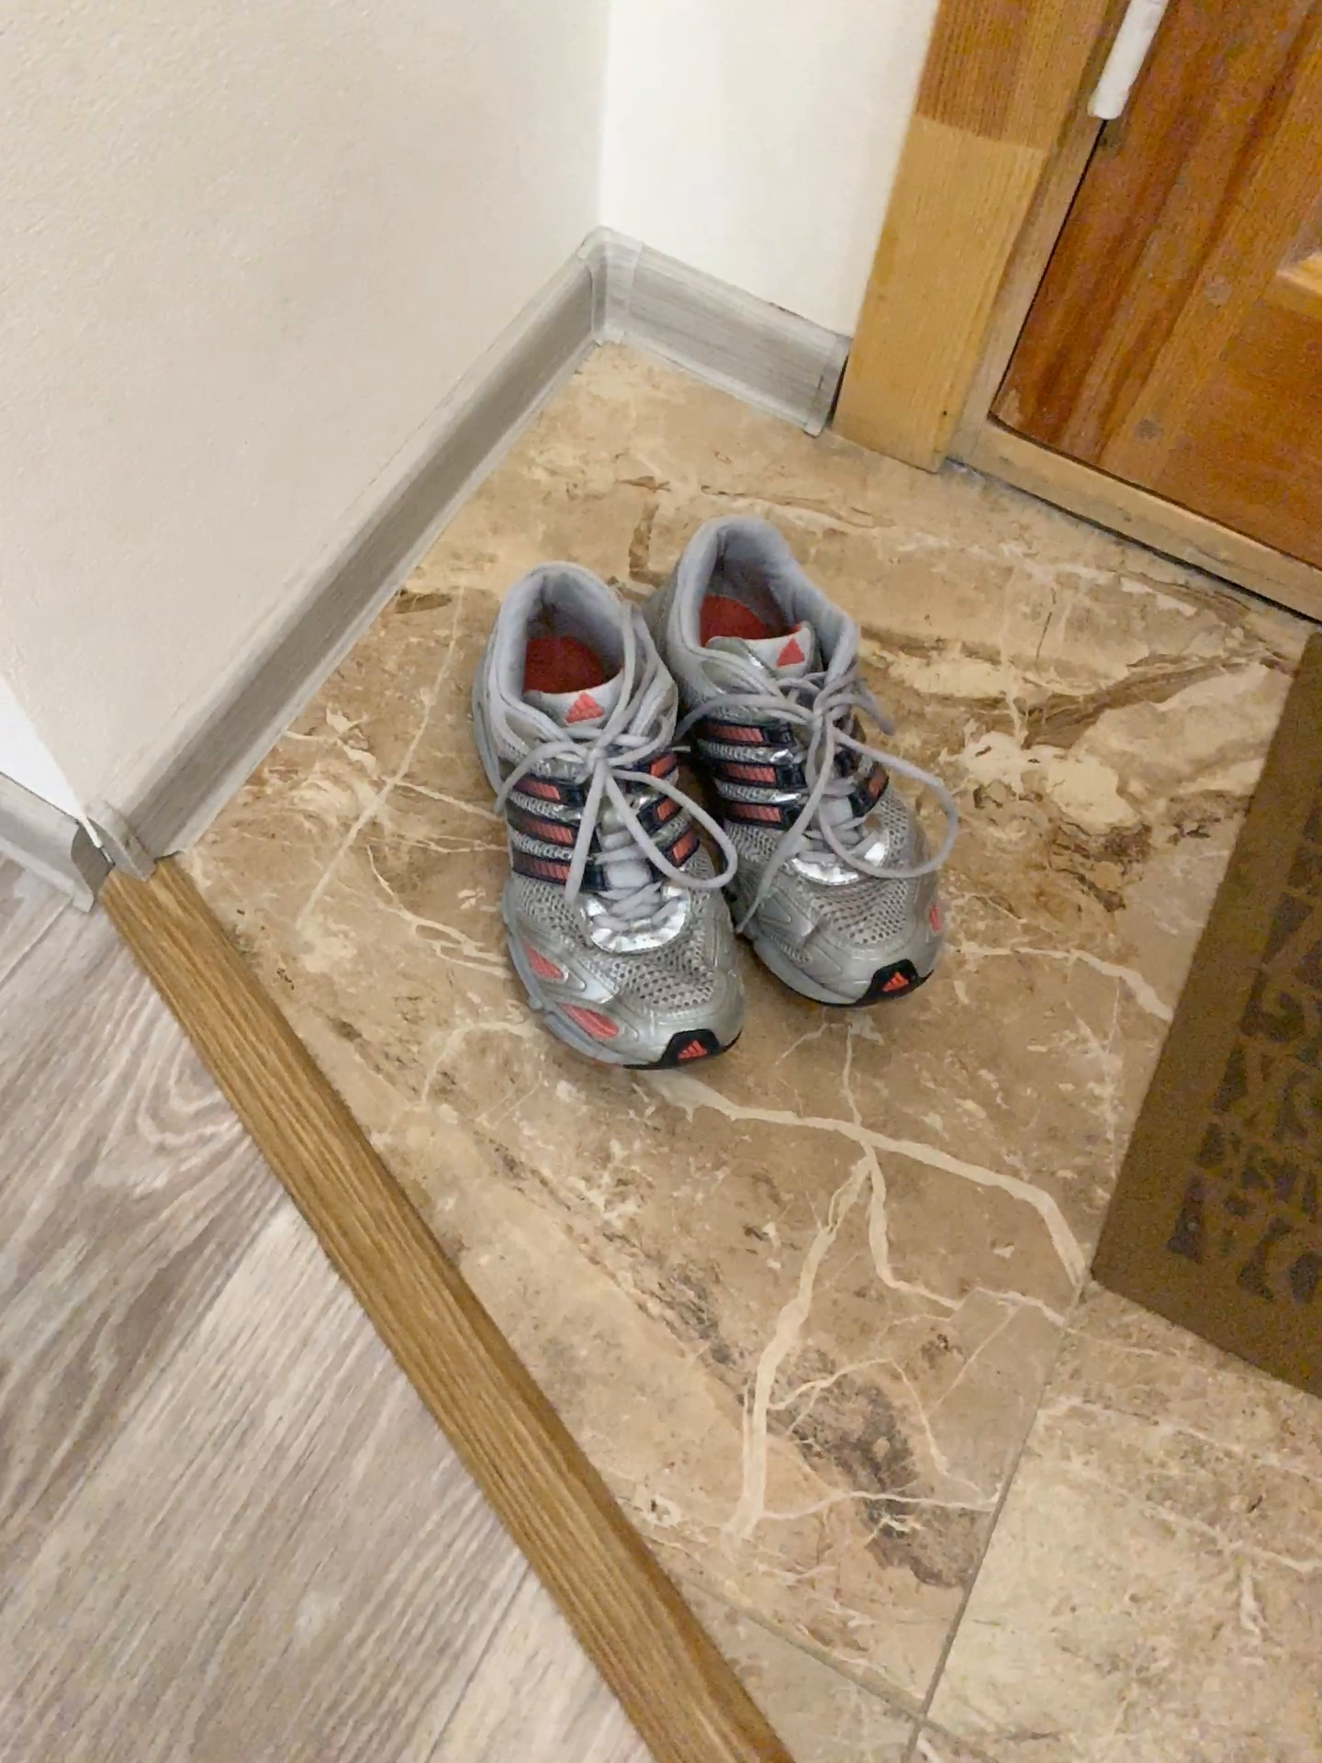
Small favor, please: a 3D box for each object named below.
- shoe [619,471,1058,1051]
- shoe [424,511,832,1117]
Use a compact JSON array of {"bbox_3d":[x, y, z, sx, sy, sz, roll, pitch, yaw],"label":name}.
[{"bbox_3d":[0.069,-0.061,0.627,0.110,0.090,0.241,-13,64,-12],"label":"shoe"},{"bbox_3d":[-0.024,-0.035,0.602,0.110,0.090,0.241,-12,64,-12],"label":"shoe"}]
